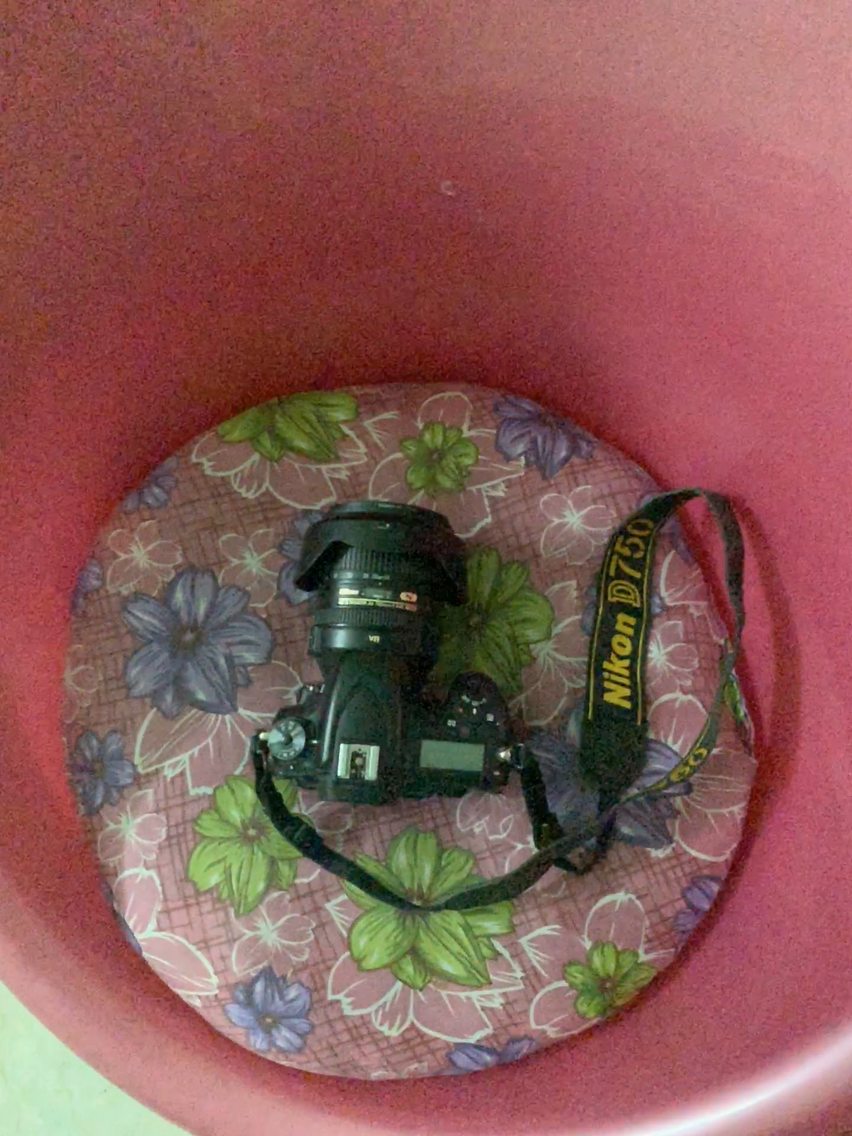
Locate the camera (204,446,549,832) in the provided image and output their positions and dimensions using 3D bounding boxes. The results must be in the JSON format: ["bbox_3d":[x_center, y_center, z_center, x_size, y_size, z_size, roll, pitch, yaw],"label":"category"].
[{"bbox_3d":[-0.020,0.043,0.531,0.166,0.130,0.191,5,81,6],"label":"camera"}]
